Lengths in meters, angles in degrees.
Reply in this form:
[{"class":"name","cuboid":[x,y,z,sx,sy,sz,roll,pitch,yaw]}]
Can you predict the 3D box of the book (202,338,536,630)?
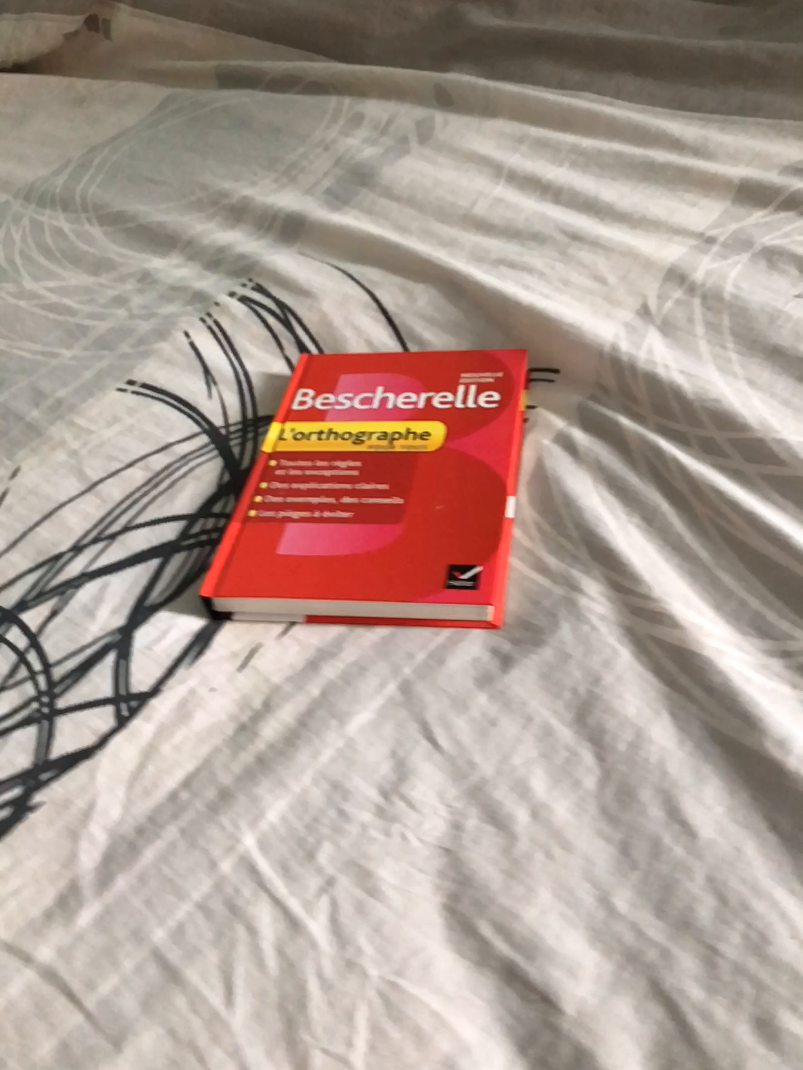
[{"class":"book","cuboid":[-0.007,-0.034,0.466,0.142,0.023,0.190,0,47,13]}]
